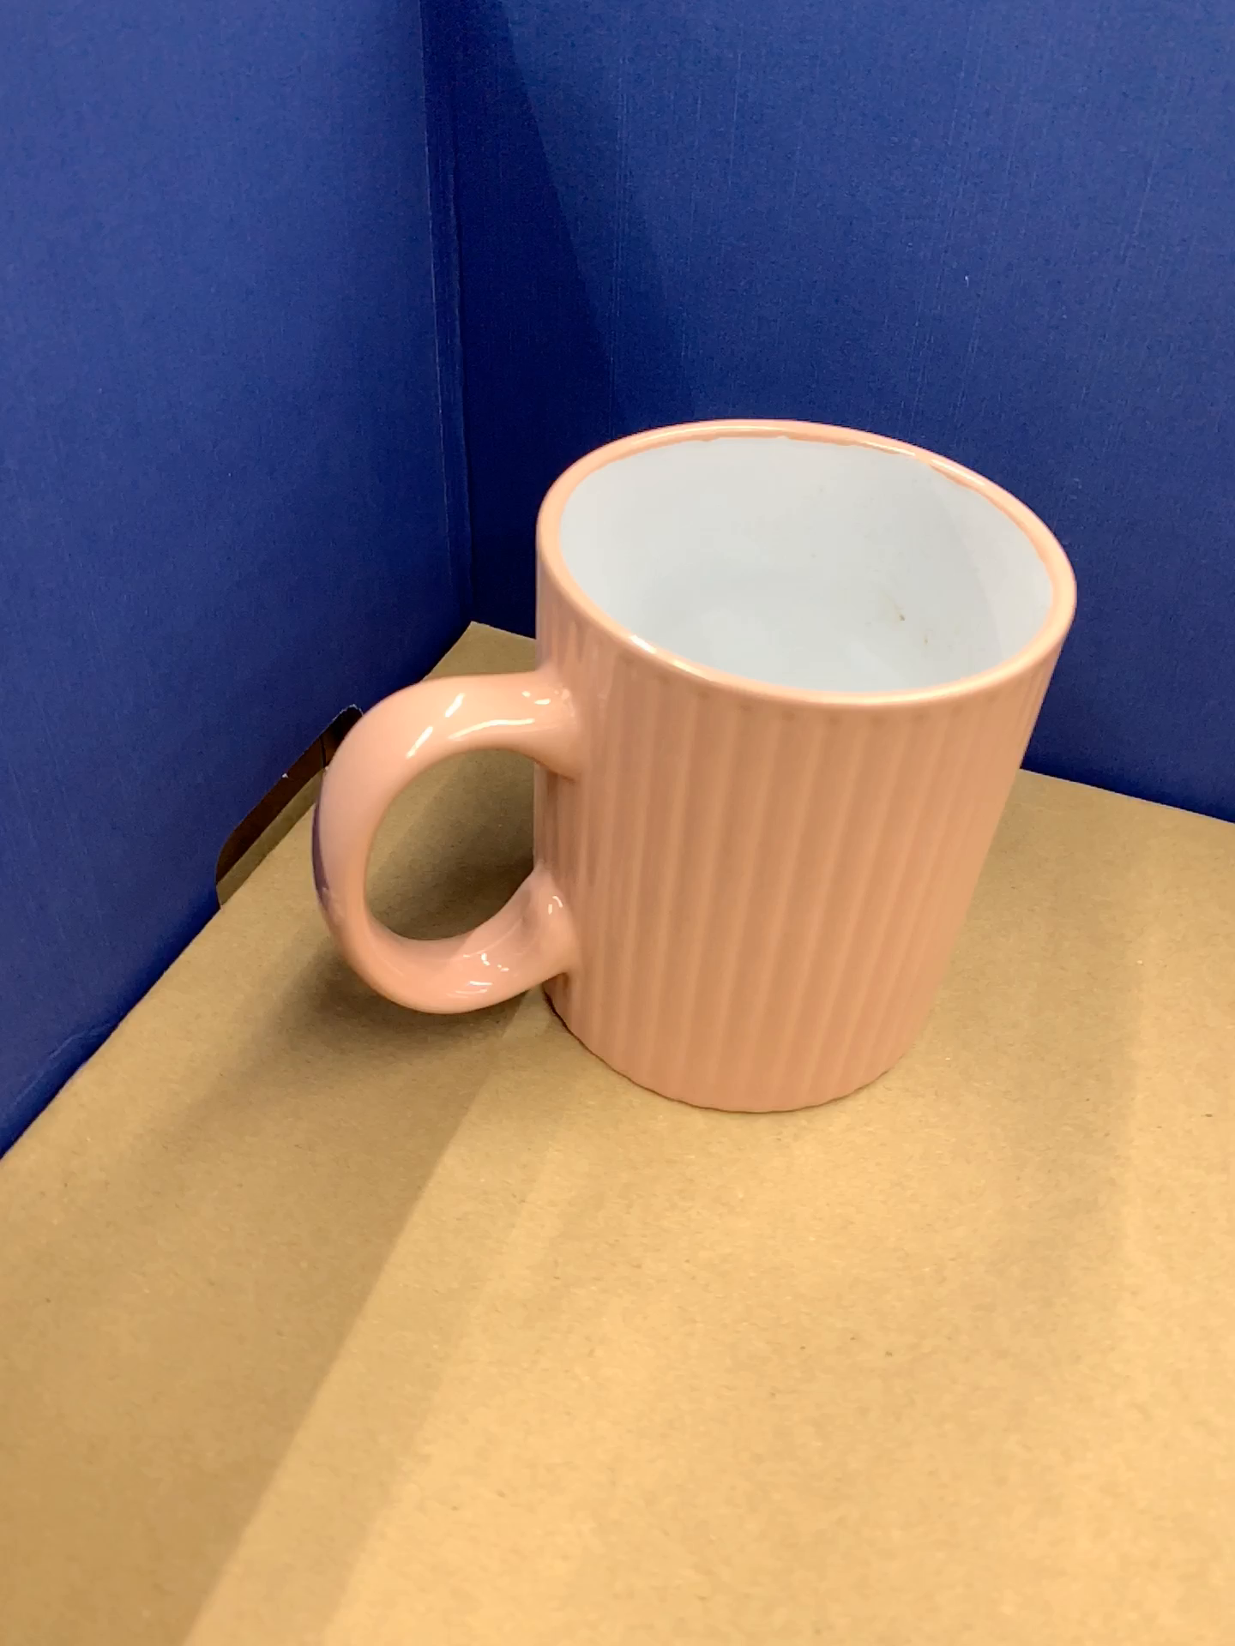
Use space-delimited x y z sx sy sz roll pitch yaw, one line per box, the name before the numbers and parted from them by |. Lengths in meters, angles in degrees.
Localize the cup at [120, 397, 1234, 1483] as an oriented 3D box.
cup | 0.009 0.008 0.233 0.155 0.128 0.102 -13 37 -23
